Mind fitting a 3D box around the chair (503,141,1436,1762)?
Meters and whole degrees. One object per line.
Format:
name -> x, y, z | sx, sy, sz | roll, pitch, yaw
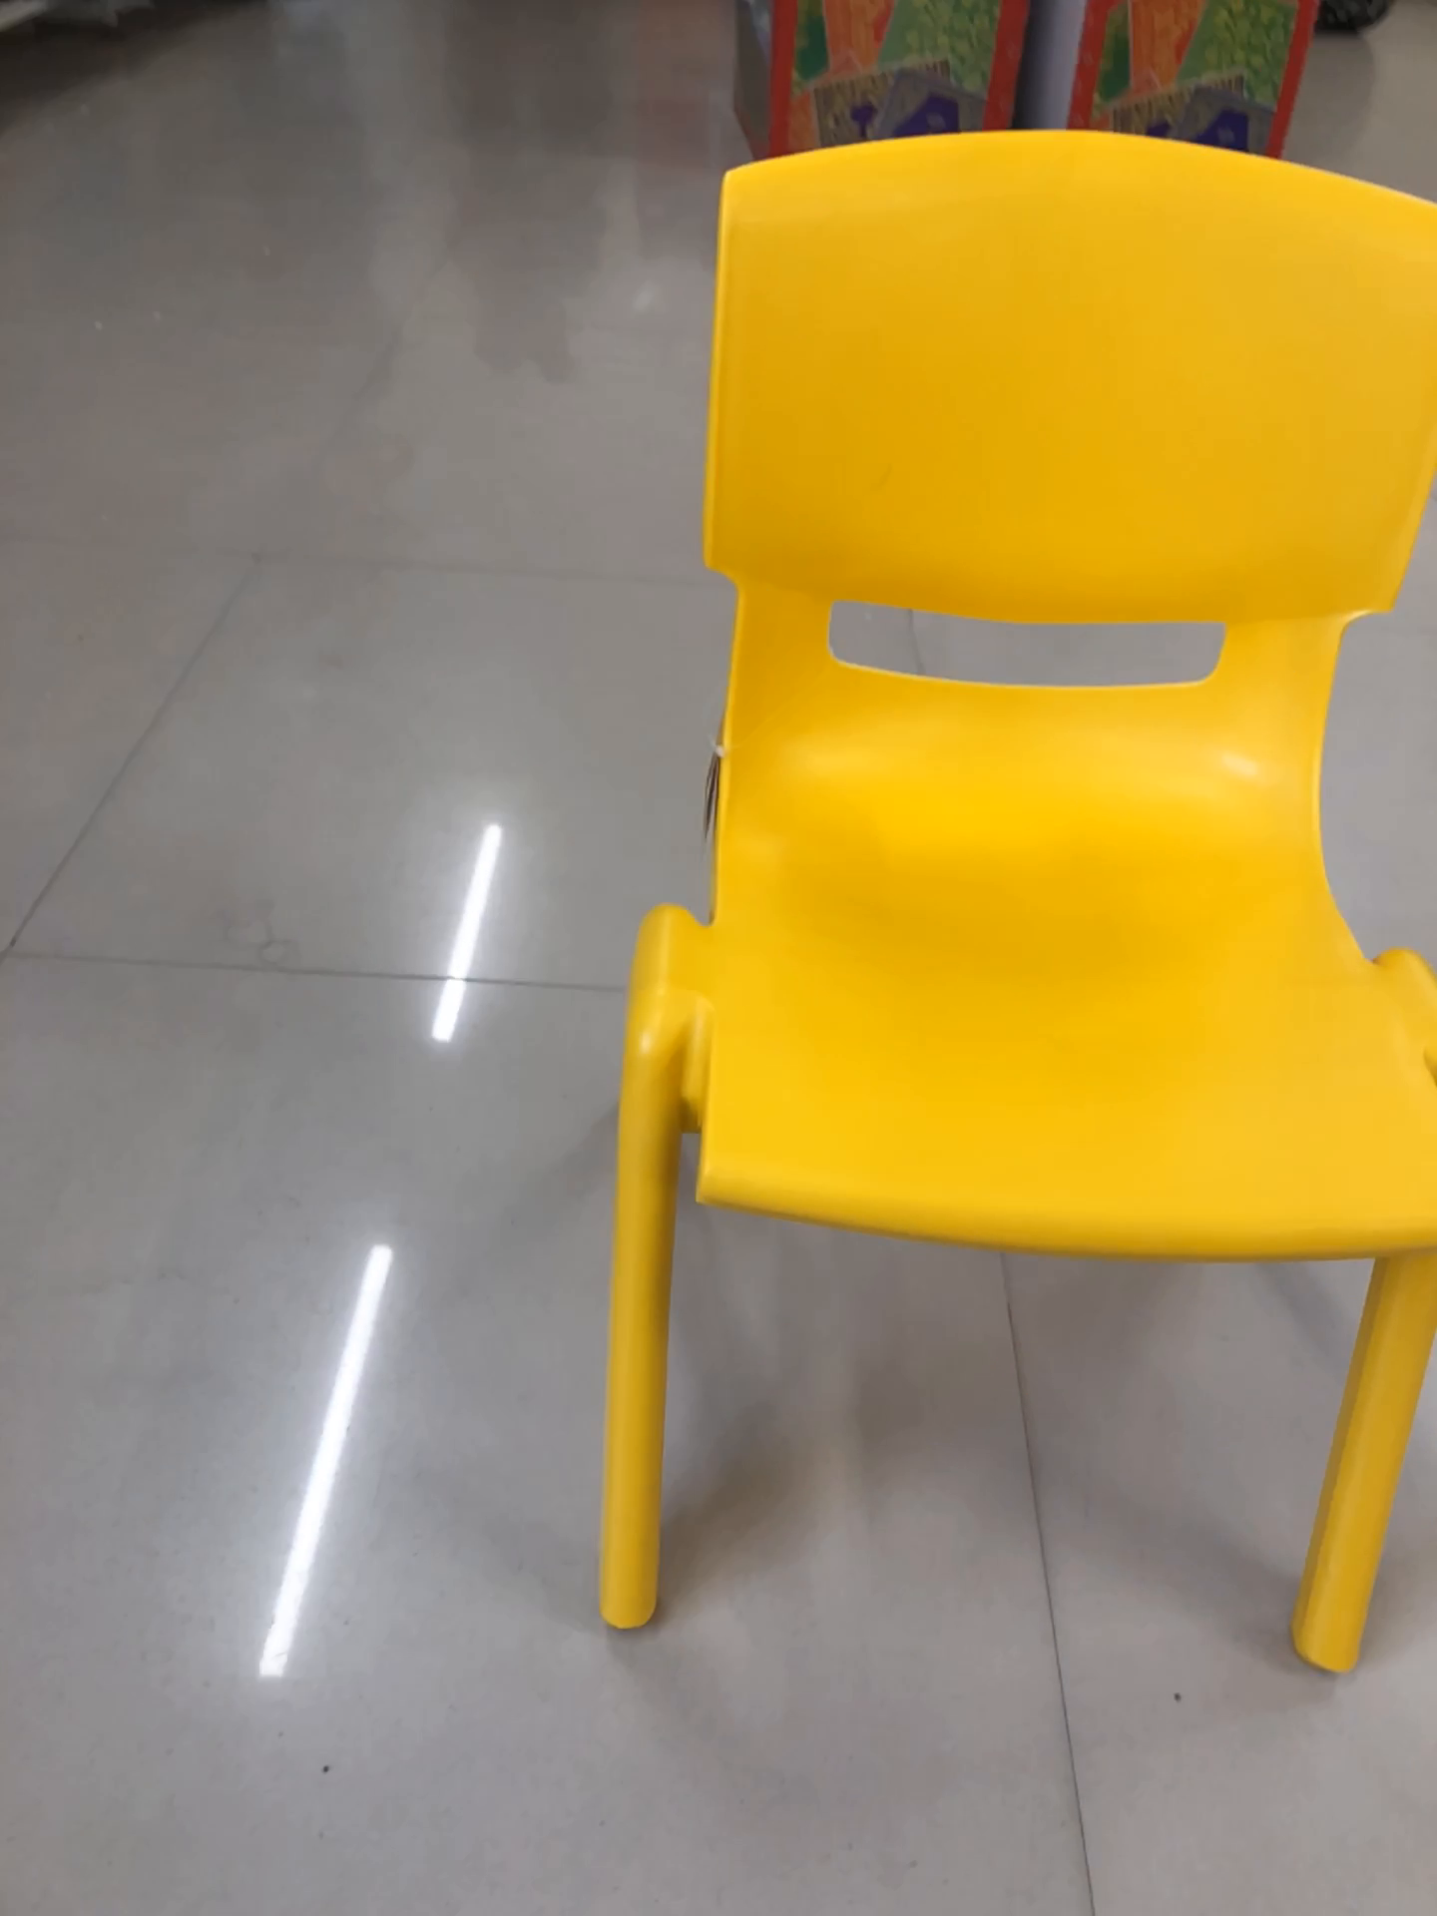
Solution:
chair -> 0.132, -0.028, 0.595 | 0.360, 0.398, 0.452 | 3, 38, -2
